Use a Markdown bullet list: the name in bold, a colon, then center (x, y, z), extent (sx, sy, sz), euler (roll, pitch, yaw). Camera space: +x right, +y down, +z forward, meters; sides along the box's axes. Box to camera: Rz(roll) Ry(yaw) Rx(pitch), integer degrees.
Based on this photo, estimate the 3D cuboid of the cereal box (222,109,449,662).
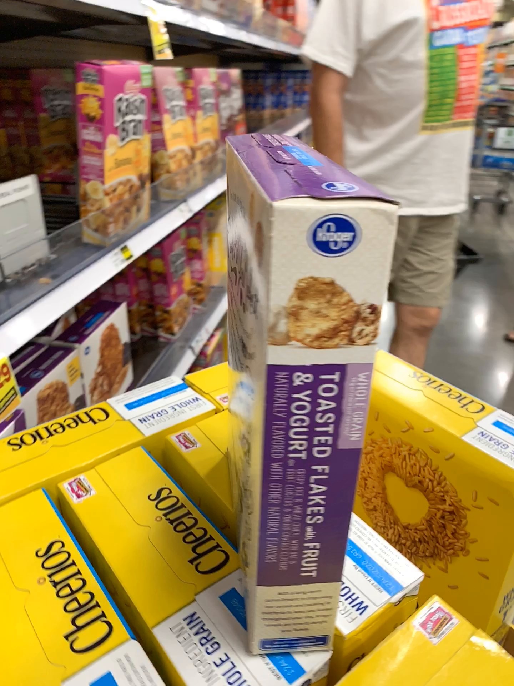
- **cereal box**: center (0.018, 0.010, 0.328), extent (0.060, 0.269, 0.201), euler (-2, 27, -8)
